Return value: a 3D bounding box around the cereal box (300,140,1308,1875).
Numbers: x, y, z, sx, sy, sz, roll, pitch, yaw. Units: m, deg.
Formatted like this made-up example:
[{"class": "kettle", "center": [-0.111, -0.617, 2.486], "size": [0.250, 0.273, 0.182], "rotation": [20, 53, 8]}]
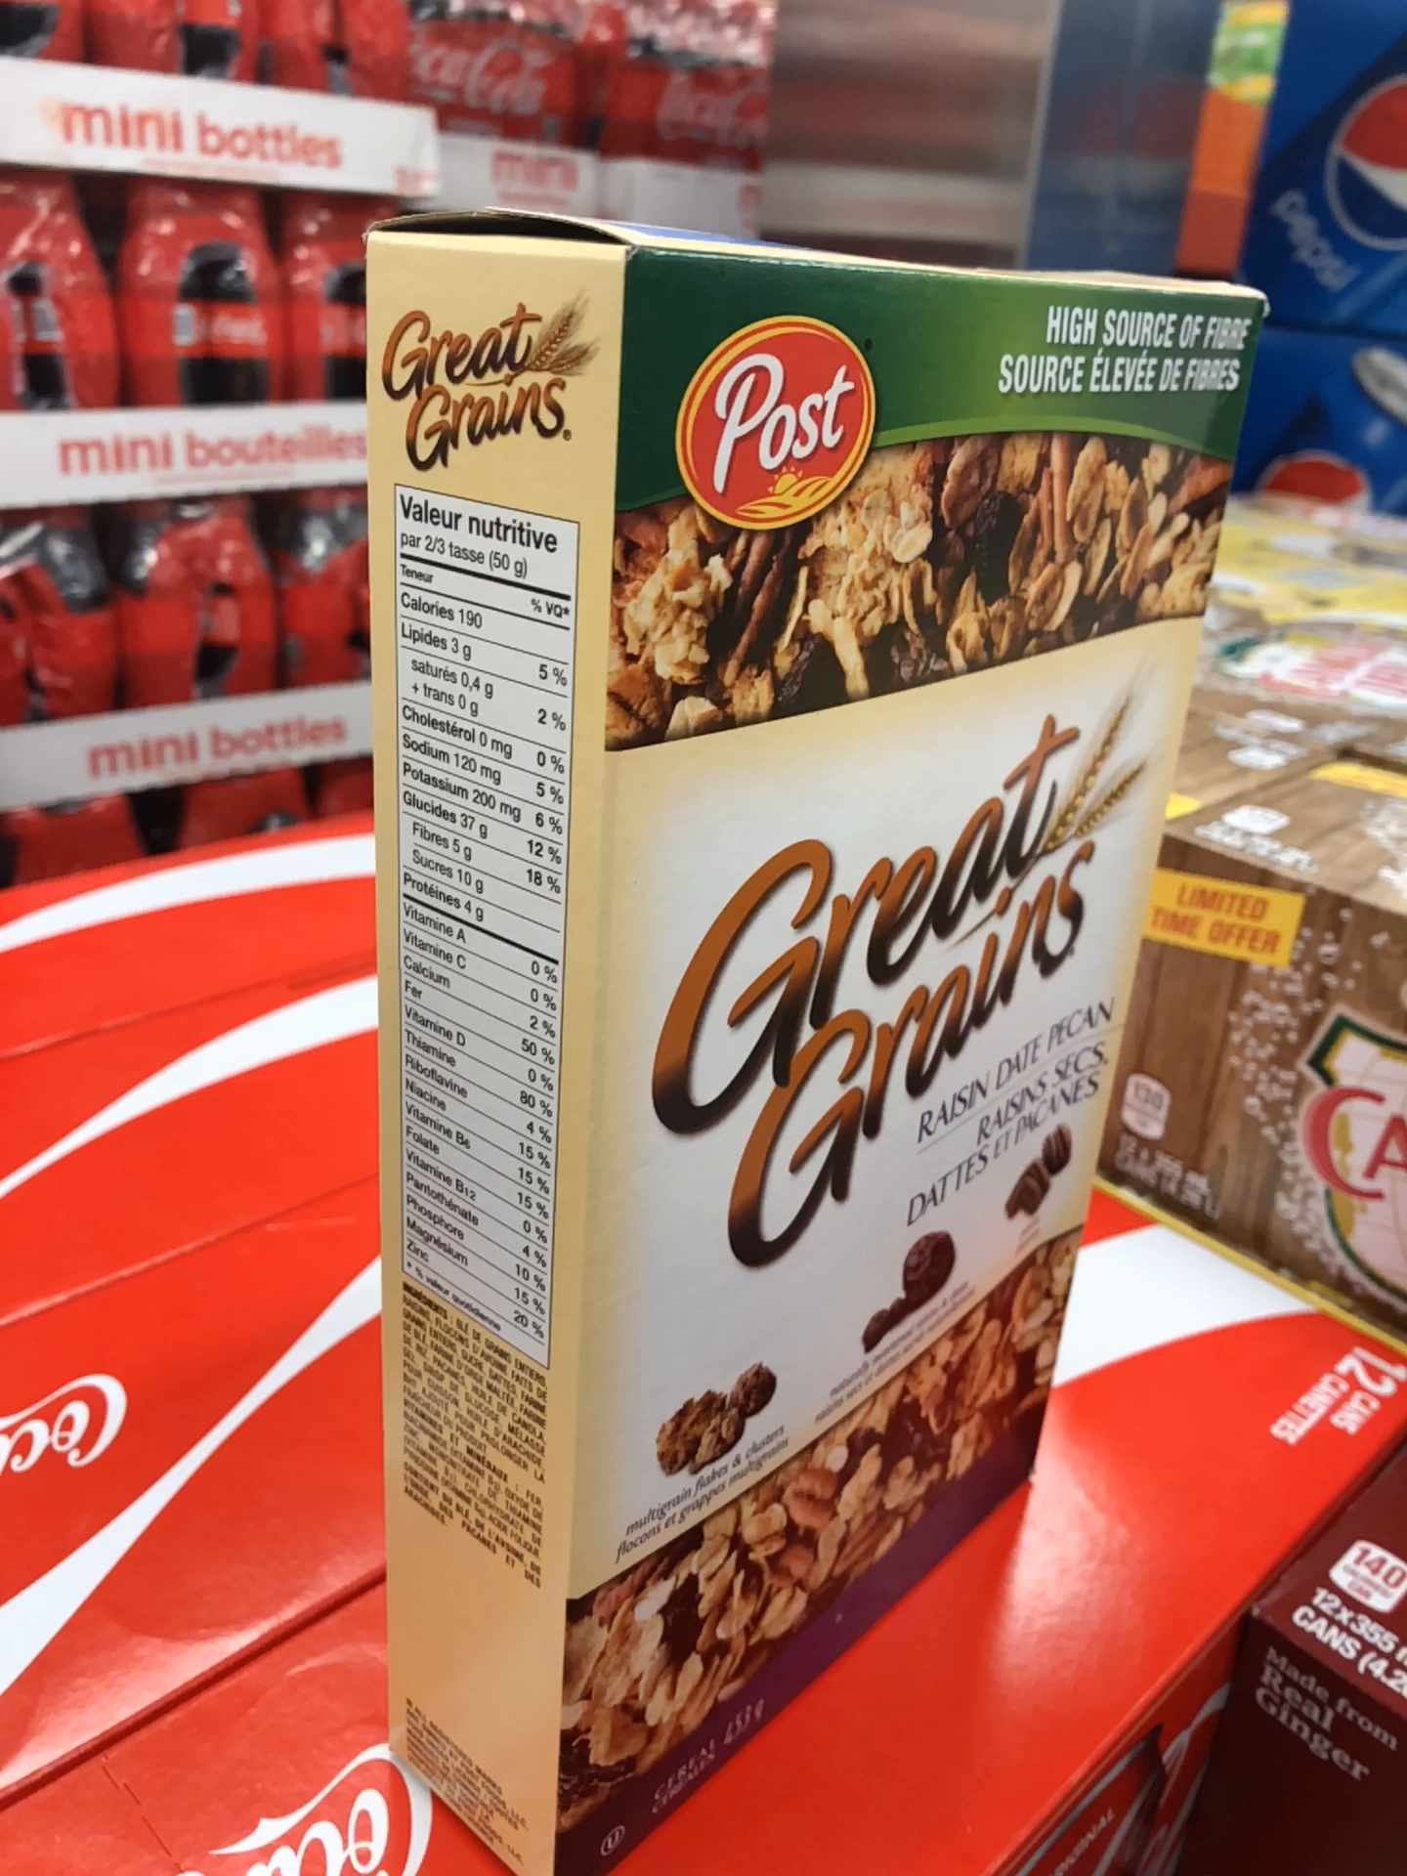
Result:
[{"class": "cereal box", "center": [0.018, 0.016, 0.282], "size": [0.050, 0.269, 0.170], "rotation": [24, 30, 37]}]
